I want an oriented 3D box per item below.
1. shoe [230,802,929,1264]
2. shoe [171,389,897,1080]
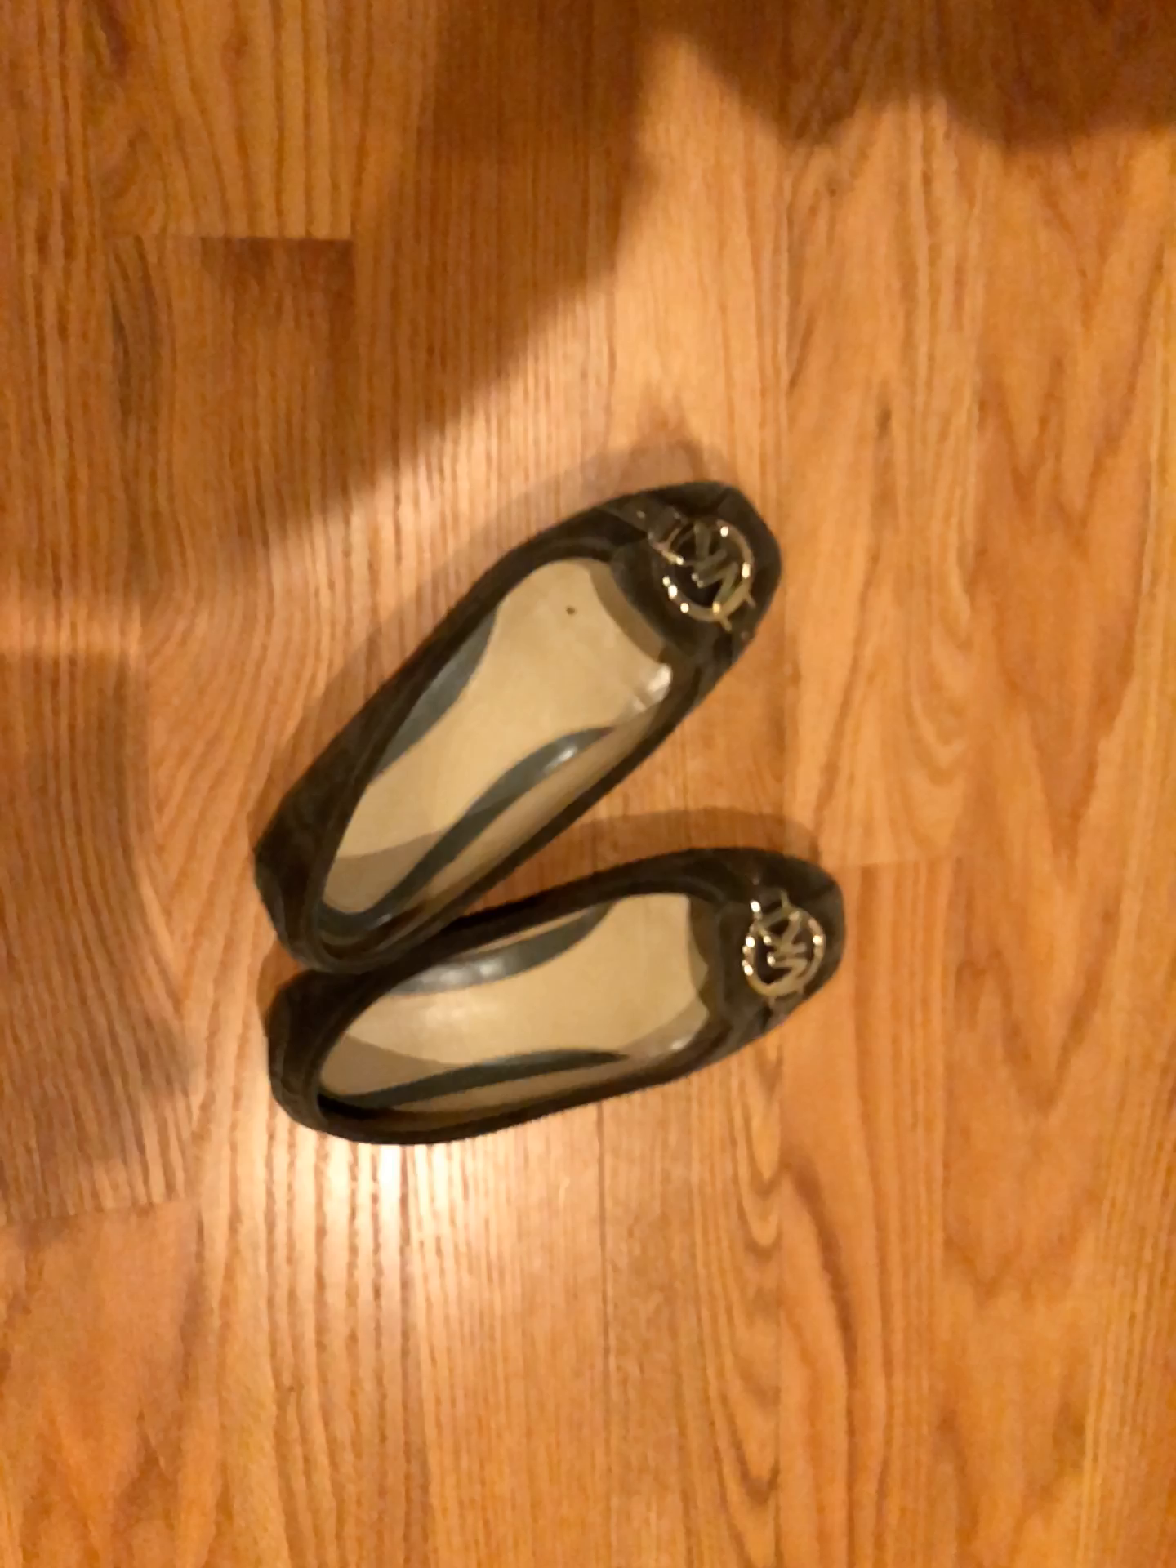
[{"bbox_3d":[-0.003,0.086,0.500,0.240,0.079,0.091,-14,104,-11],"label":"shoe"},{"bbox_3d":[-0.021,-0.022,0.469,0.242,0.079,0.091,-42,108,-2],"label":"shoe"}]
